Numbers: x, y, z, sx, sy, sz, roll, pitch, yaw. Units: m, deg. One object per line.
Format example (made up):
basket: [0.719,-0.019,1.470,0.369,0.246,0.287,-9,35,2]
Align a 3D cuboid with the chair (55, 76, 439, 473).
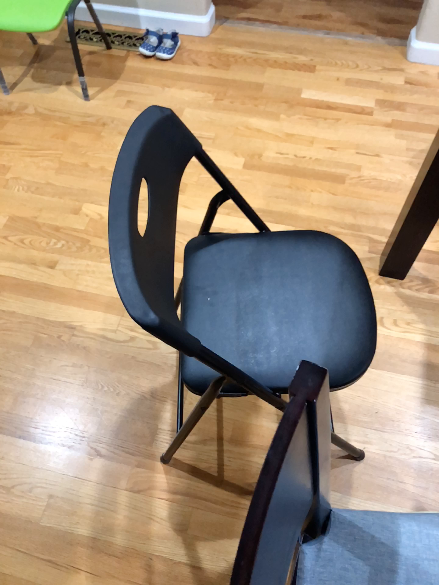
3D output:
chair: [0.068,0.028,1.006,0.520,0.697,0.522,-1,58,1]
